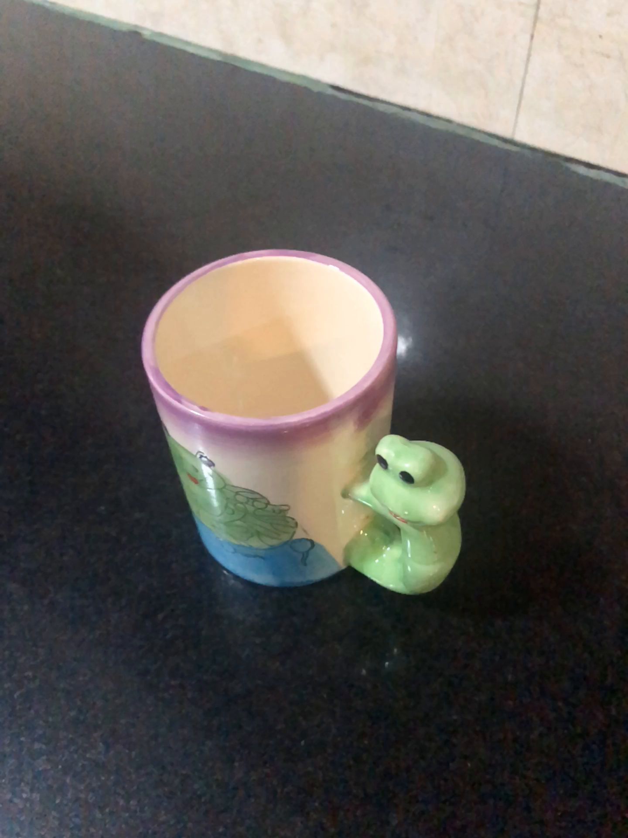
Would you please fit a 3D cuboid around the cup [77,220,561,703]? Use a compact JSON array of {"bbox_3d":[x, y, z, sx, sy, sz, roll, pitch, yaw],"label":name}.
[{"bbox_3d":[0.005,0.015,0.237,0.110,0.109,0.080,20,53,18],"label":"cup"}]
